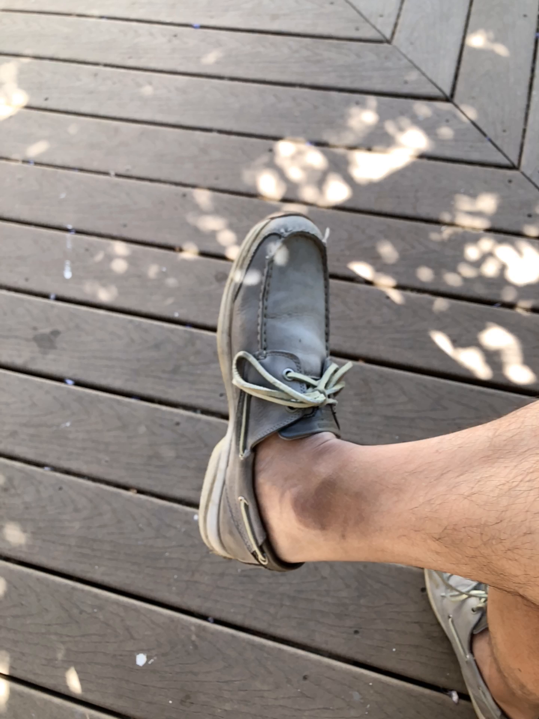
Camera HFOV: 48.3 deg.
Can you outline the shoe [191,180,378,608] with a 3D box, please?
[{"bbox_3d":[0.015,0.027,0.526,0.083,0.116,0.326,4,89,46],"label":"shoe"}]
